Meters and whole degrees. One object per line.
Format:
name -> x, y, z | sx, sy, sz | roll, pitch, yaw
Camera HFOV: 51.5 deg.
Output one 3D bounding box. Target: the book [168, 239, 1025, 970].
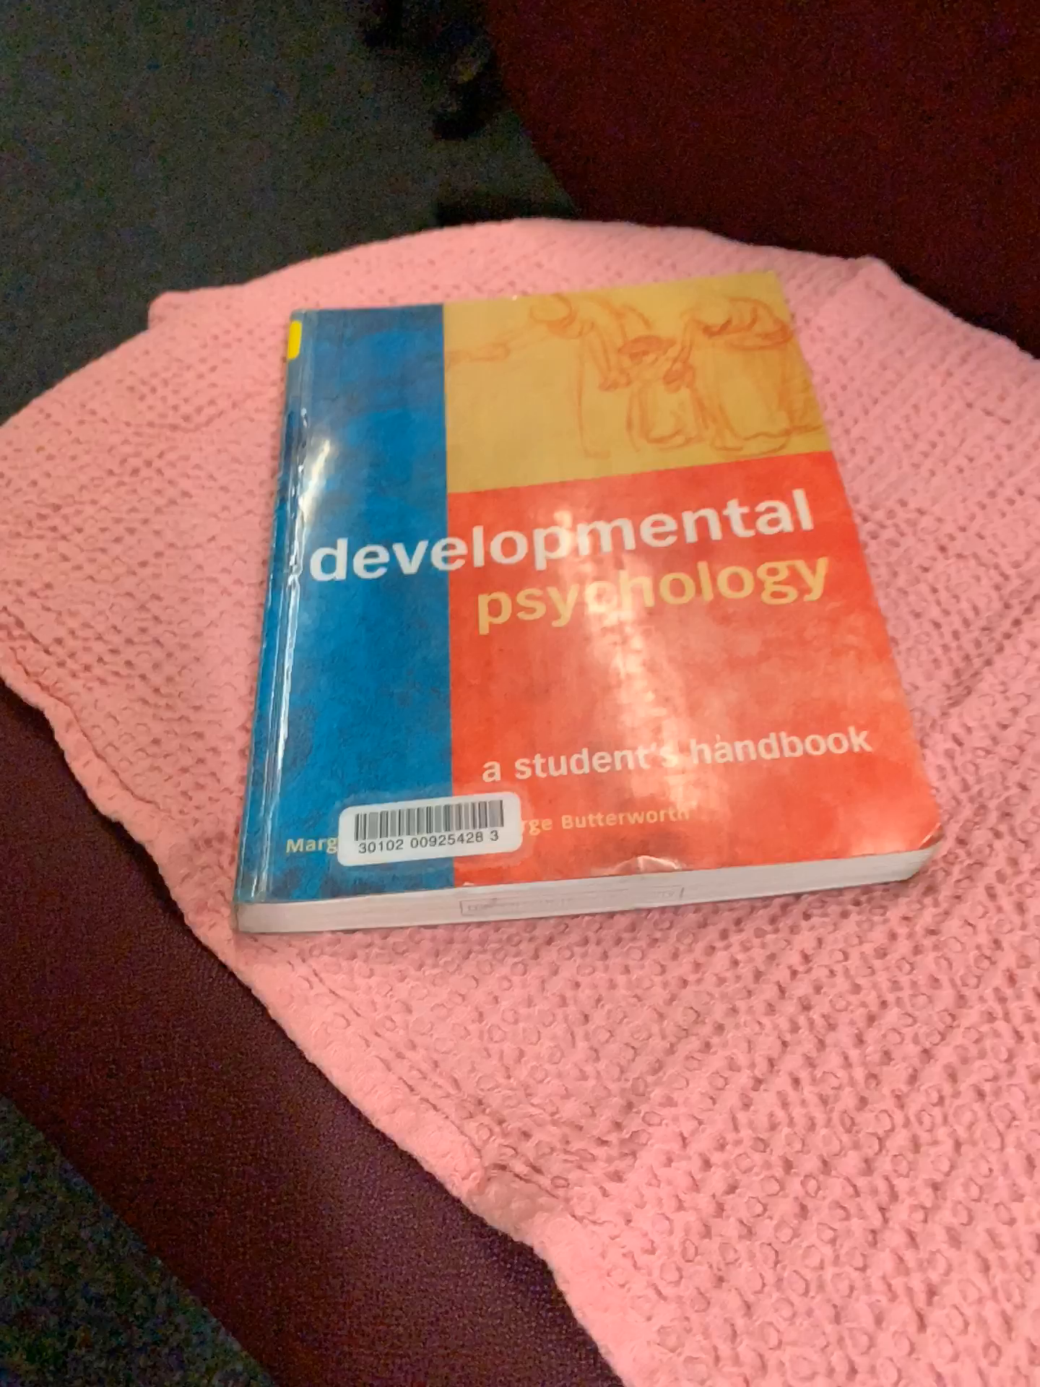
book -> 0.011, -0.050, 0.356 | 0.210, 0.040, 0.262 | -4, 54, 0
